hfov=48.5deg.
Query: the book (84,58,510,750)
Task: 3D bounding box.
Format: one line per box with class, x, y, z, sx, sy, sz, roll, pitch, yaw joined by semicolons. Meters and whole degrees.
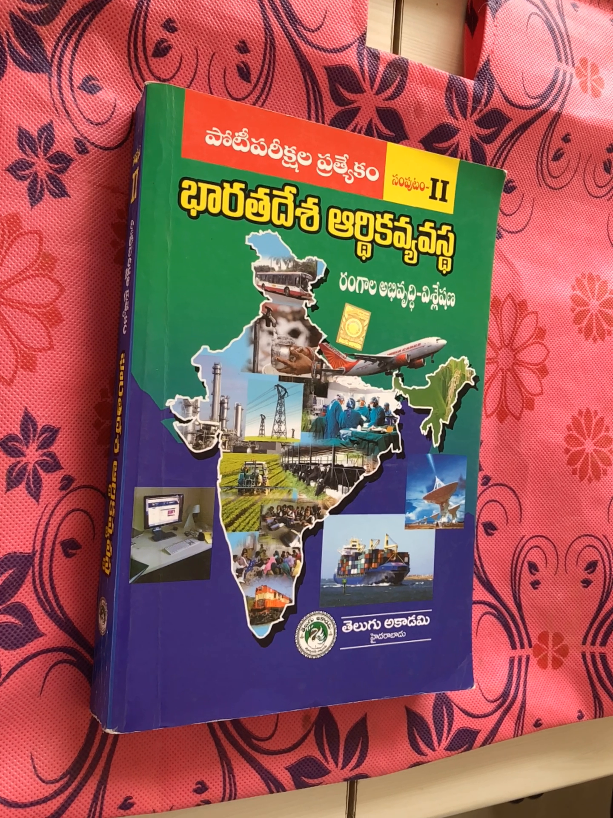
book;0.003;0.003;0.333;0.190;0.040;0.280;4;89;-25
